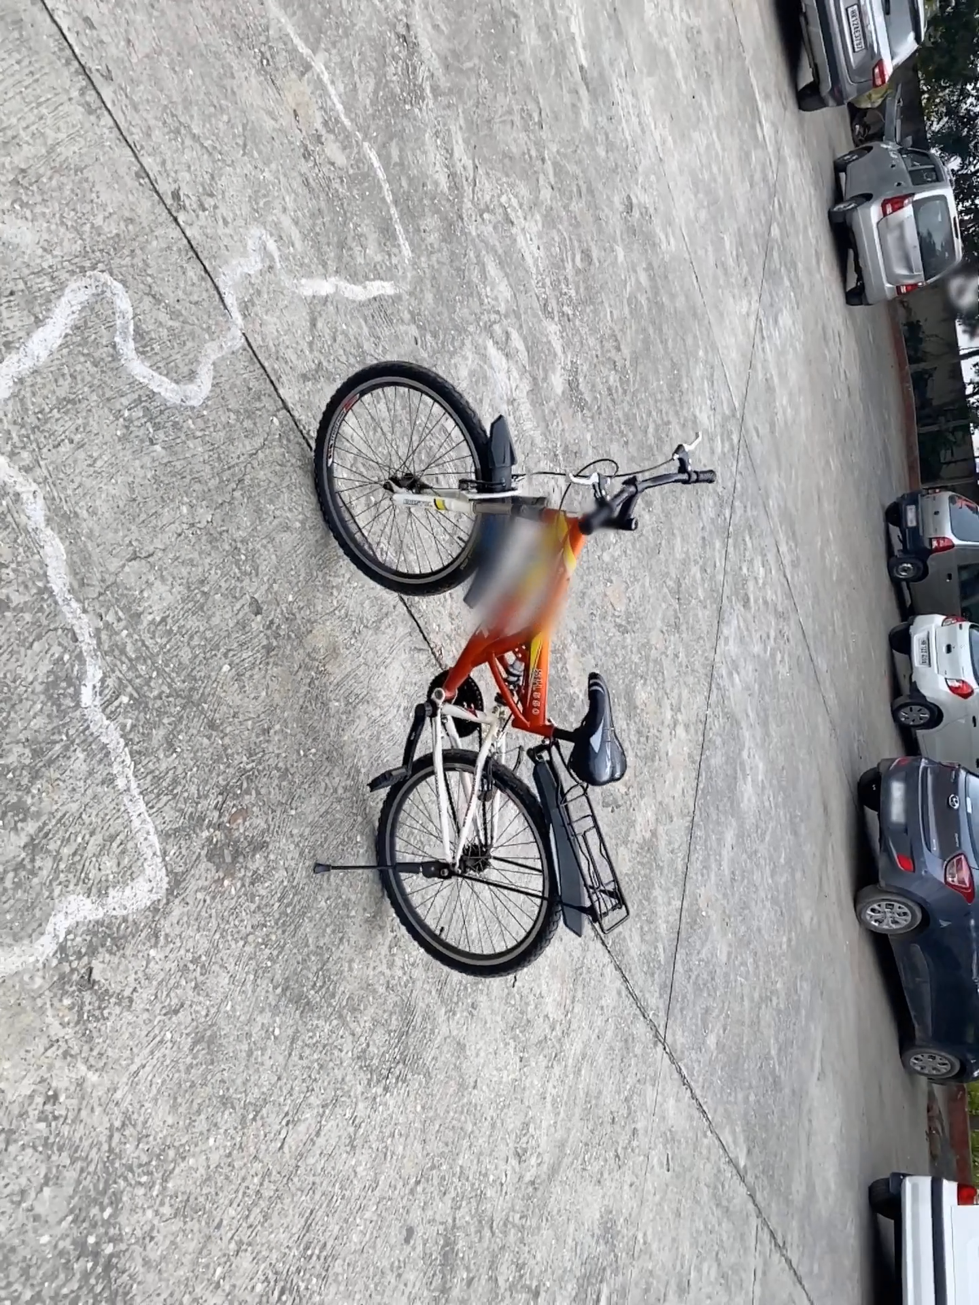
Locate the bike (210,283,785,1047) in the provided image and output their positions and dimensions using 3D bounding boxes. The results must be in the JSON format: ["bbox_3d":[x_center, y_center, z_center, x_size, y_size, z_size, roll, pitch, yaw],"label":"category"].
[{"bbox_3d":[0.041,0.046,2.403,0.587,0.977,1.512,-17,97,-63],"label":"bike"}]
